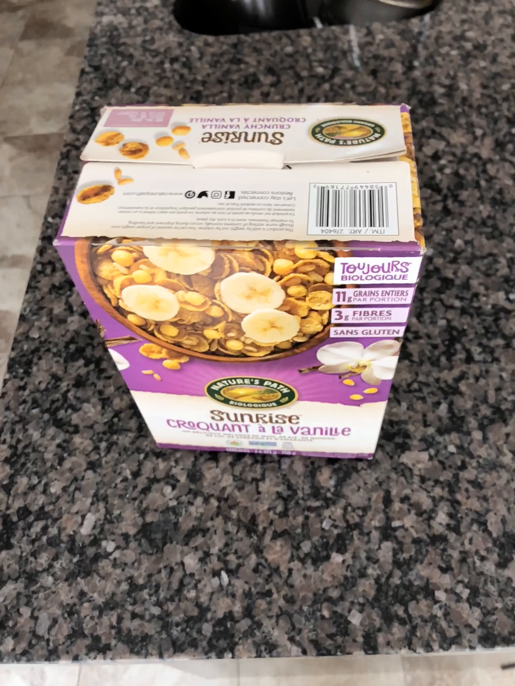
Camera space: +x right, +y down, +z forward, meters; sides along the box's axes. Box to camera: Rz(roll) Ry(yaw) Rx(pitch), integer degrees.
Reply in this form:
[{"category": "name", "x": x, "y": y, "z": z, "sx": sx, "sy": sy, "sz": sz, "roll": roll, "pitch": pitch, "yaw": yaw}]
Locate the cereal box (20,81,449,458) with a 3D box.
[{"category": "cereal box", "x": -0.001, "y": -0.025, "z": 0.365, "sx": 0.180, "sy": 0.229, "sz": 0.110, "roll": 1, "pitch": 57, "yaw": 6}]
